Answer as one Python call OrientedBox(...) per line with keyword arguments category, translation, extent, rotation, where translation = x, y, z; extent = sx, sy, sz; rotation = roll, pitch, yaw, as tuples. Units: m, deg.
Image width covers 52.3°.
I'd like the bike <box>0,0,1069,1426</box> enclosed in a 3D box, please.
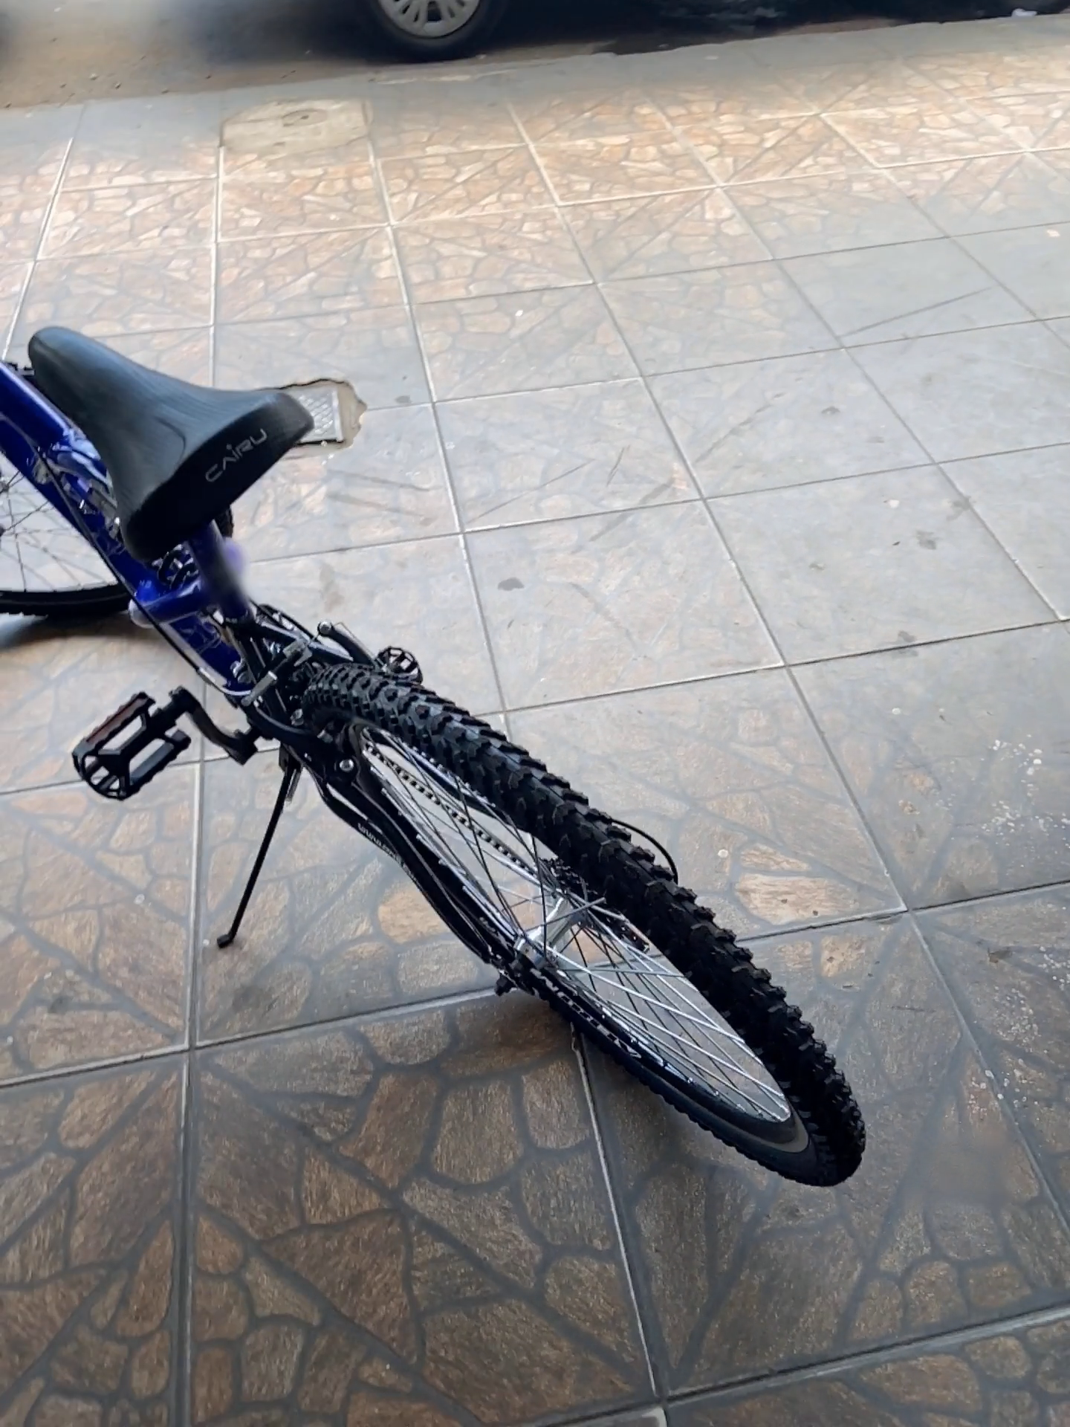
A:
OrientedBox(category="bike", translation=(-0.518, 0.047, 1.035), extent=(1.612, 1.019, 0.516), rotation=(26, 55, 25))
